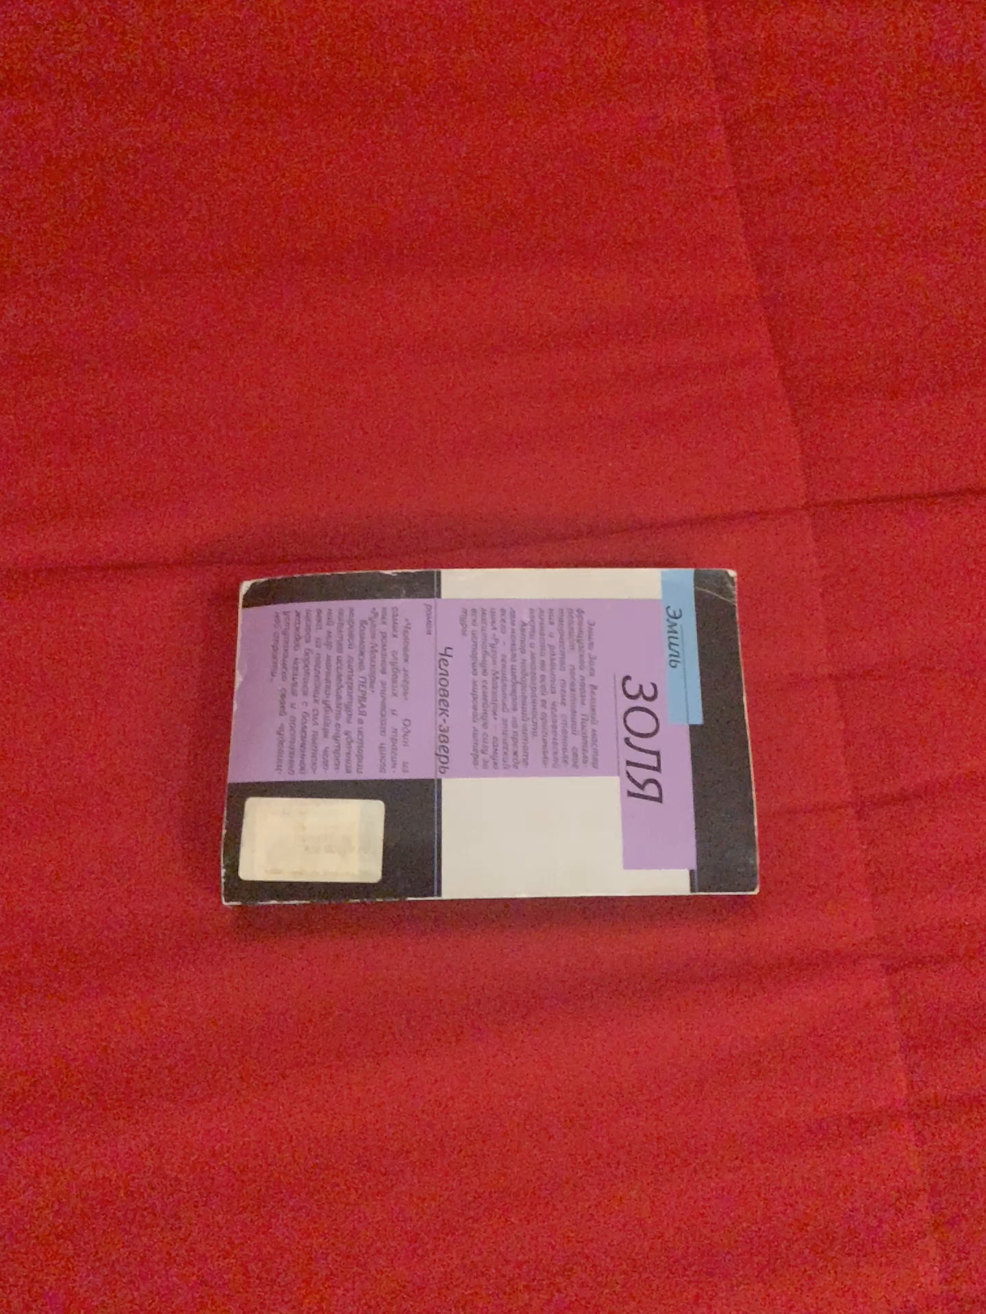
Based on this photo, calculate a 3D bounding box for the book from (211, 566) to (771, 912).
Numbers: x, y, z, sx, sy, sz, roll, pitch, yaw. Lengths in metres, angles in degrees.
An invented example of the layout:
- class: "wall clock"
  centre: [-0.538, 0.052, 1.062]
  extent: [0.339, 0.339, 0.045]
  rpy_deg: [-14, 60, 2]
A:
- class: "book"
  centre: [-0.001, 0.027, 0.339]
  extent: [0.170, 0.034, 0.109]
  rpy_deg: [0, 76, -3]
